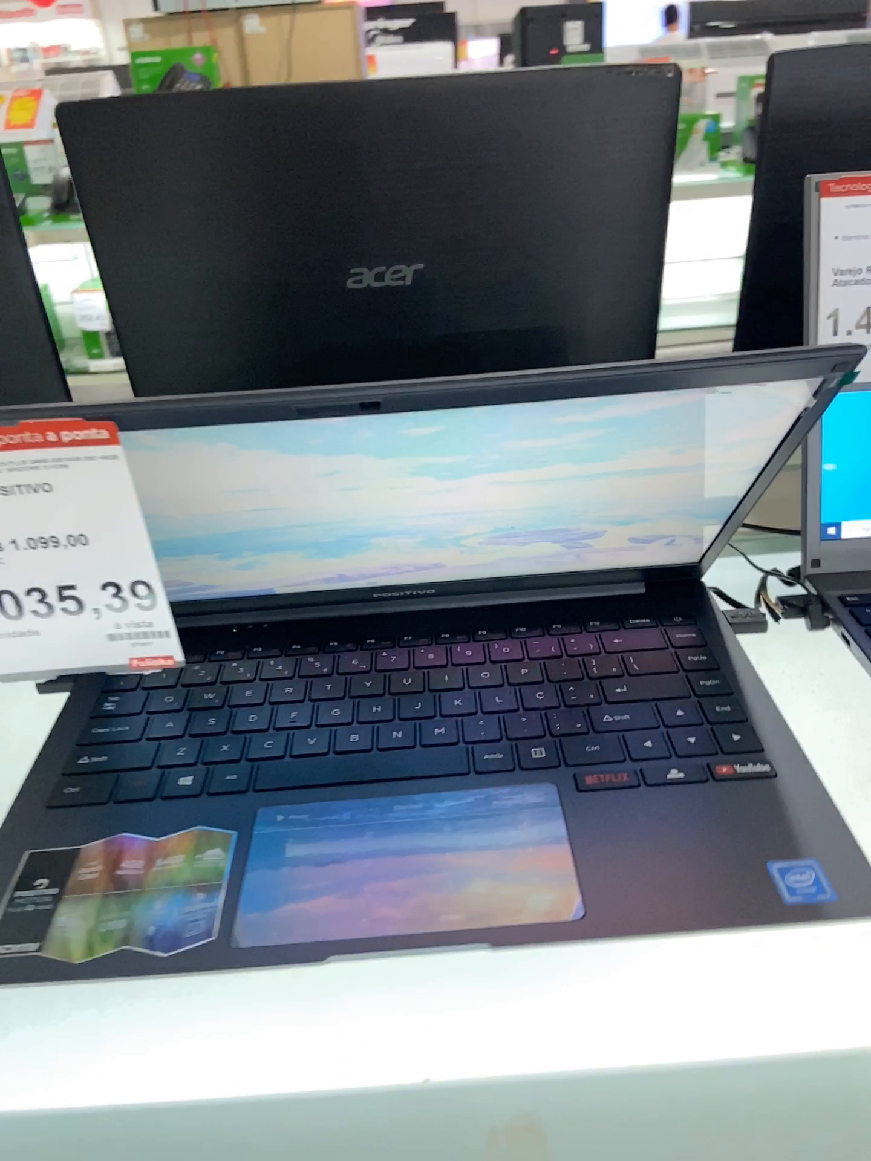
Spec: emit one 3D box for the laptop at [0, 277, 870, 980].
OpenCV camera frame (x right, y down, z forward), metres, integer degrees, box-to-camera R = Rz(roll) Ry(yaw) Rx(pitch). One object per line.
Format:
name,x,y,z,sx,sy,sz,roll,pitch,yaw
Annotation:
laptop,-0.019,-0.003,0.366,0.333,0.163,0.223,-4,30,0
